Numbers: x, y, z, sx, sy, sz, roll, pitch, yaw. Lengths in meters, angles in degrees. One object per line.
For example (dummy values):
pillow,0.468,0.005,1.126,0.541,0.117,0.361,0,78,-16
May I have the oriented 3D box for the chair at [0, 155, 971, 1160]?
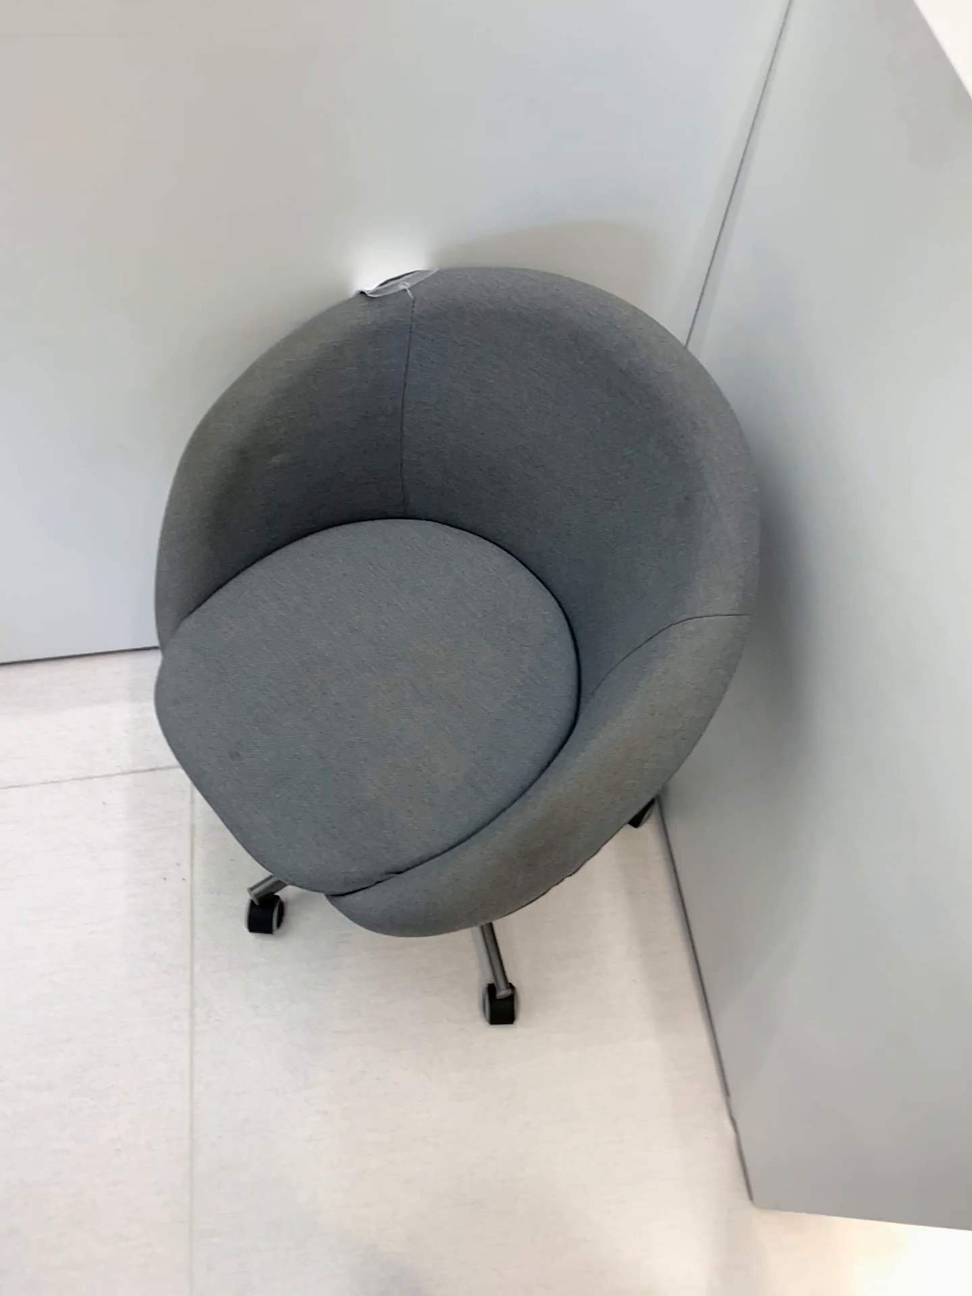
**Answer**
chair,-0.069,0.075,1.252,0.711,0.828,0.731,-34,68,-19
